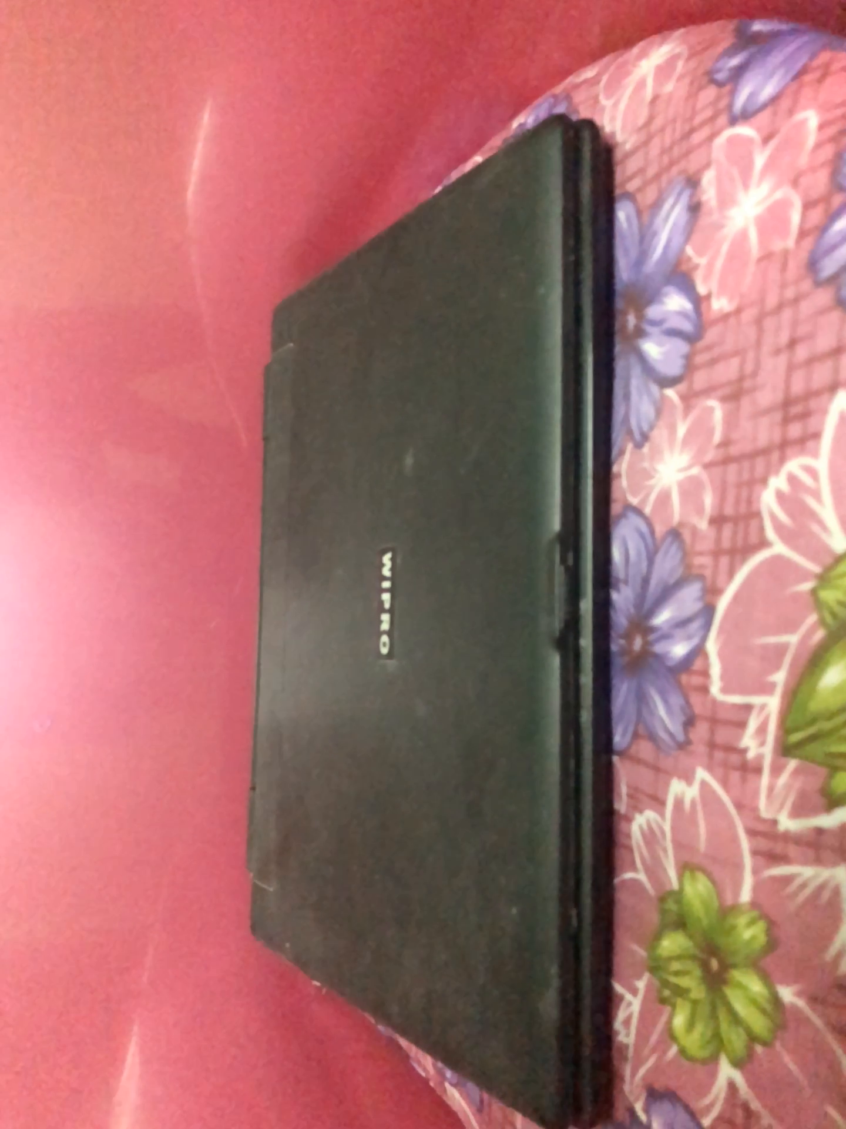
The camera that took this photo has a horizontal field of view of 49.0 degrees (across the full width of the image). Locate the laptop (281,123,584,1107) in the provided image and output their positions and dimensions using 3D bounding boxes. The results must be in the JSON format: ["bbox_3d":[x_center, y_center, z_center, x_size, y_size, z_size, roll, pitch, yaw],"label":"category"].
[{"bbox_3d":[-0.009,0.016,0.398,0.221,0.006,0.322,-7,81,58],"label":"laptop"}]
